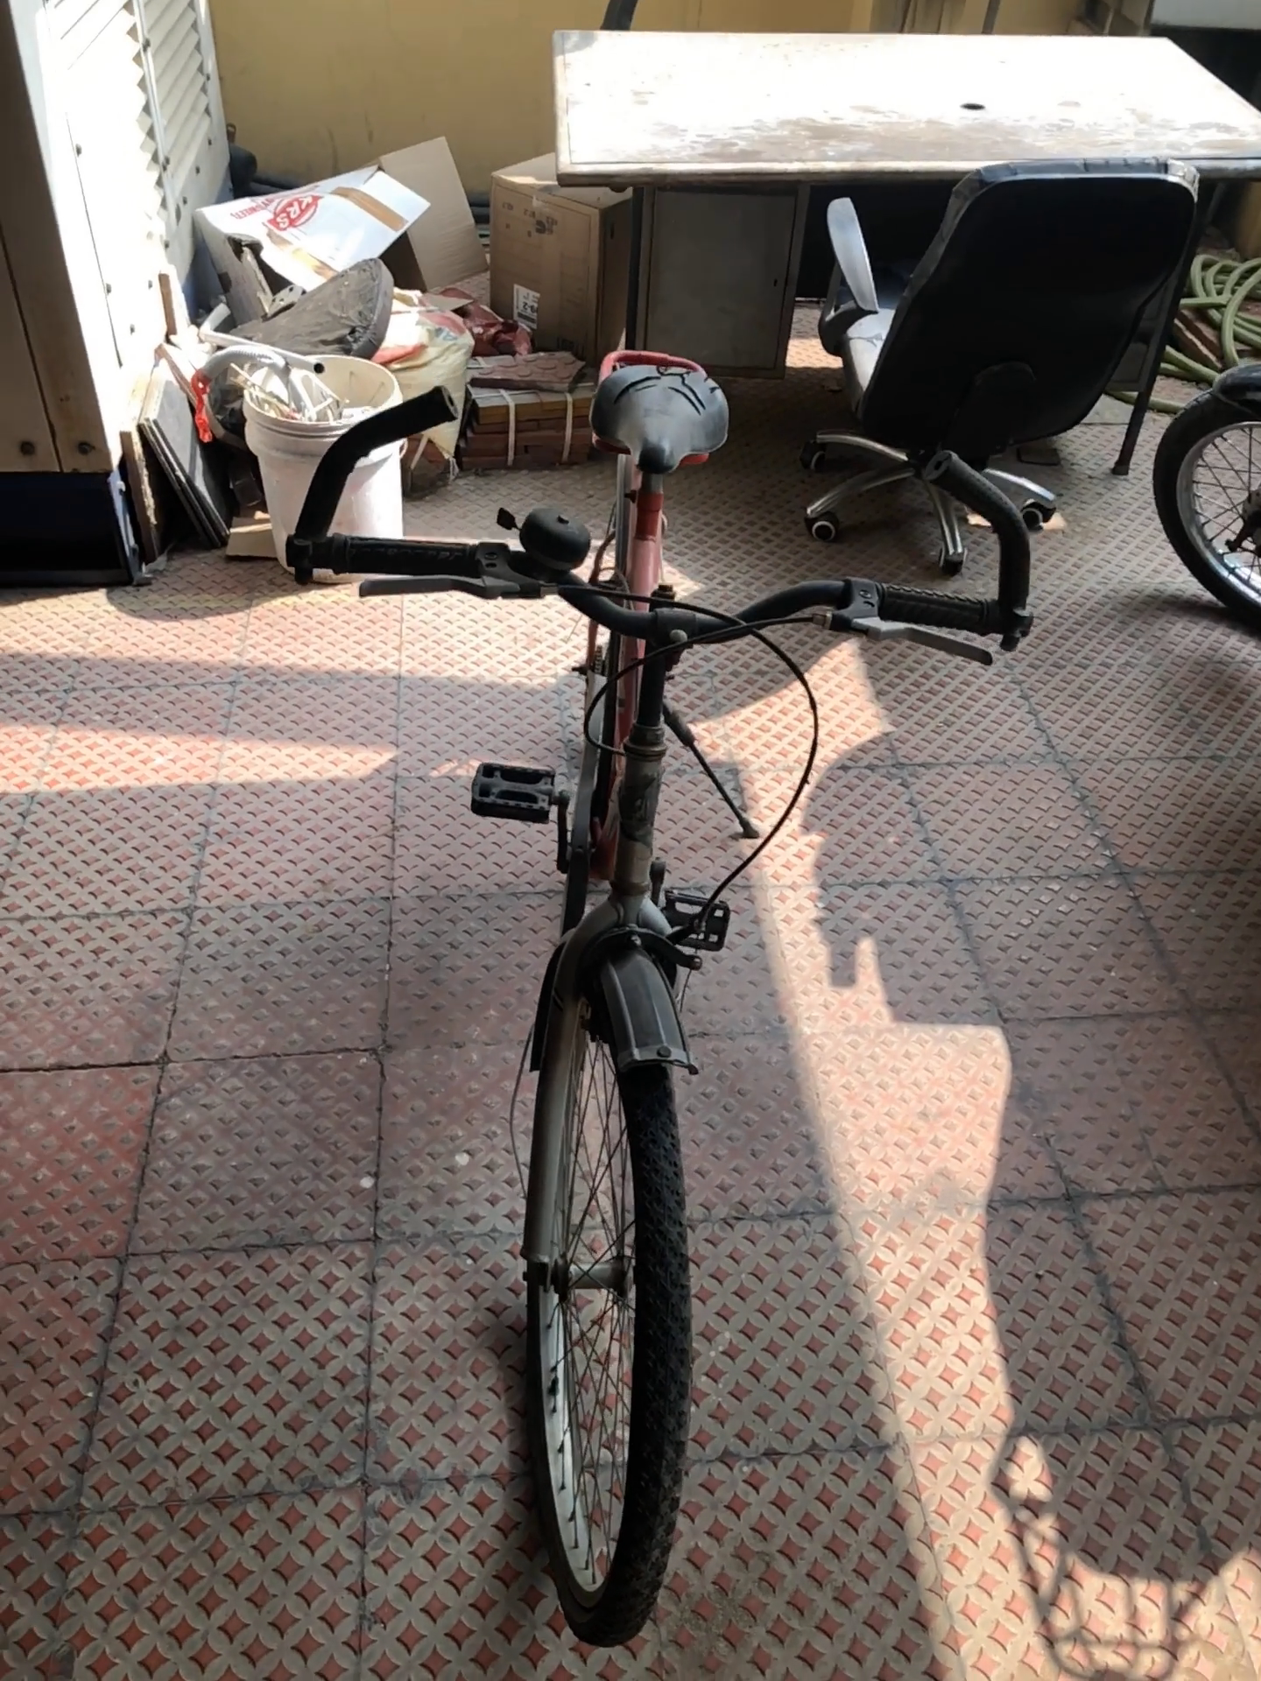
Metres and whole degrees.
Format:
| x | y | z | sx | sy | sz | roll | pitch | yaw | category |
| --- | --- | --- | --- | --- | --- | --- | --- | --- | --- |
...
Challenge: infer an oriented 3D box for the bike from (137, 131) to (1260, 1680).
| x | y | z | sx | sy | sz | roll | pitch | yaw | category |
| --- | --- | --- | --- | --- | --- | --- | --- | --- | --- |
| 0.034 | -0.068 | 1.577 | 0.575 | 0.963 | 1.621 | 2 | 41 | -2 | bike |
